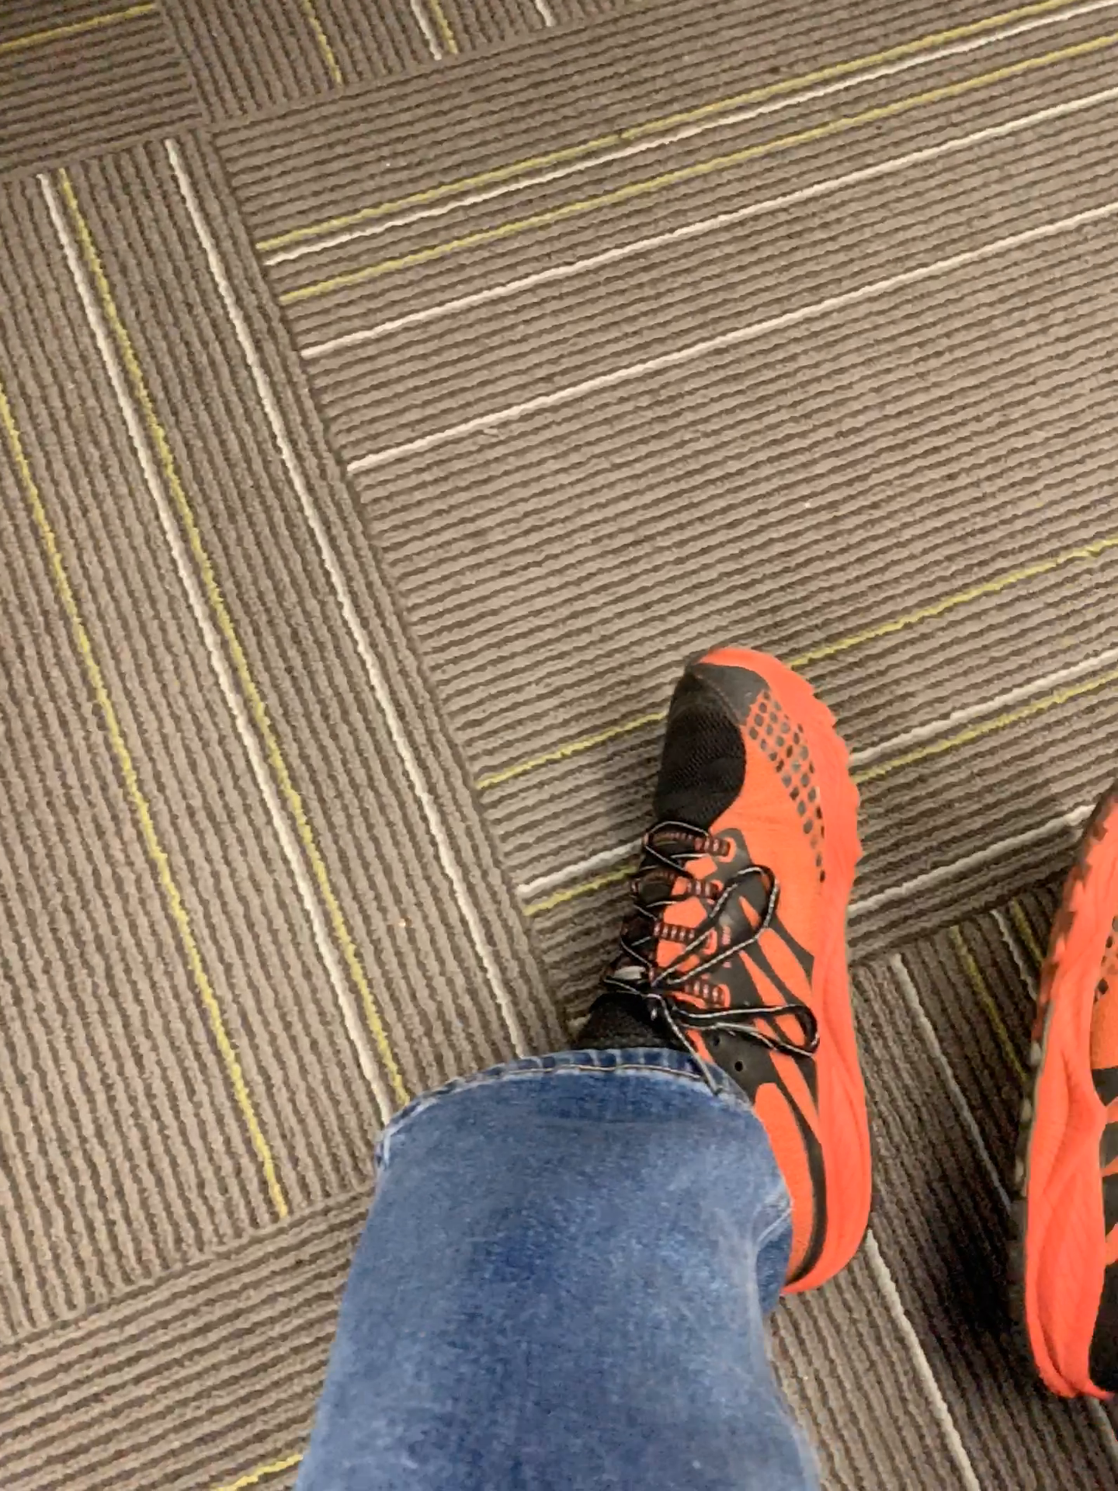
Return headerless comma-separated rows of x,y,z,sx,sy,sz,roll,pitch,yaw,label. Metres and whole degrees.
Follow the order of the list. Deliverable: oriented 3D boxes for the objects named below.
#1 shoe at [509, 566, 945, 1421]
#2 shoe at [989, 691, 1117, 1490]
0.067,0.096,0.501,0.108,0.128,0.307,9,74,-46,shoe
0.267,0.150,0.515,0.108,0.138,0.317,4,78,14,shoe
